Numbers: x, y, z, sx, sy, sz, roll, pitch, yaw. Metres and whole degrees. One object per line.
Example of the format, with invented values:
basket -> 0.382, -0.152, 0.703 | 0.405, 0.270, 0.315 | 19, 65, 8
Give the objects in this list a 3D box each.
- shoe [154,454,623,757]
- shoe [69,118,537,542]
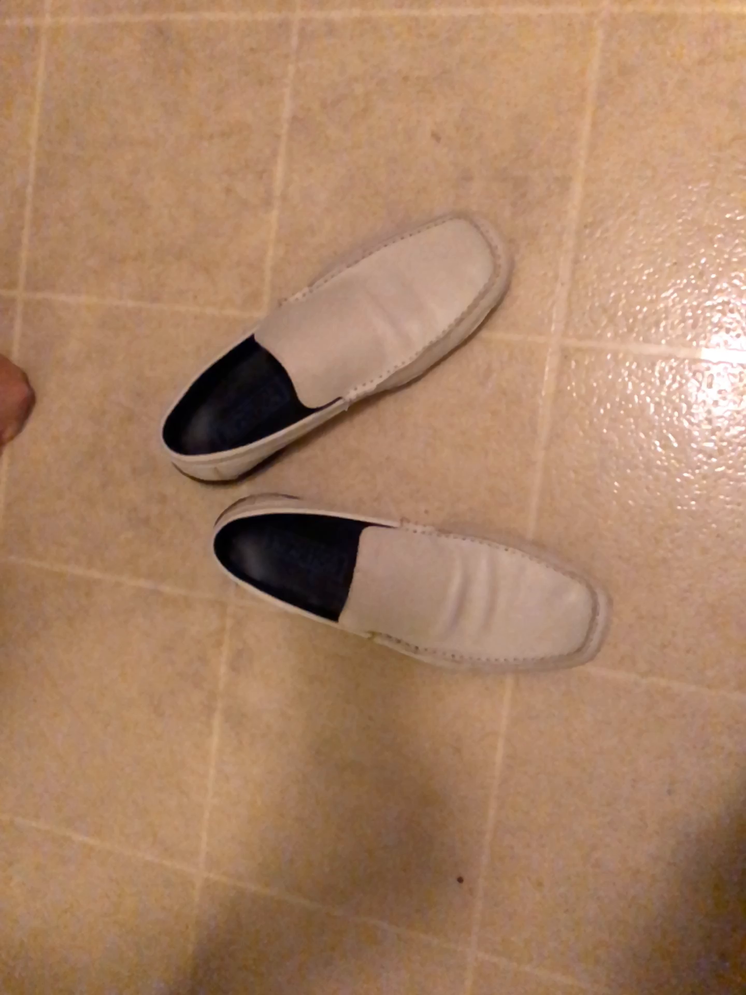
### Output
shoe -> 0.011, 0.061, 0.567 | 0.289, 0.097, 0.110 | 16, 96, 15
shoe -> -0.049, -0.102, 0.580 | 0.306, 0.097, 0.110 | -35, 82, 15
